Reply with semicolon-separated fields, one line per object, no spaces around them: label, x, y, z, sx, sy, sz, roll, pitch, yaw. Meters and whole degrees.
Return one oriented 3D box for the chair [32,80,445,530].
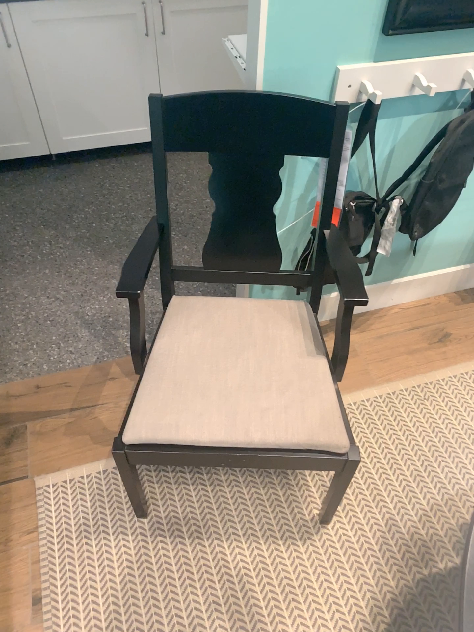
chair;0.001;0.006;1.303;0.600;0.897;0.803;2;49;0
